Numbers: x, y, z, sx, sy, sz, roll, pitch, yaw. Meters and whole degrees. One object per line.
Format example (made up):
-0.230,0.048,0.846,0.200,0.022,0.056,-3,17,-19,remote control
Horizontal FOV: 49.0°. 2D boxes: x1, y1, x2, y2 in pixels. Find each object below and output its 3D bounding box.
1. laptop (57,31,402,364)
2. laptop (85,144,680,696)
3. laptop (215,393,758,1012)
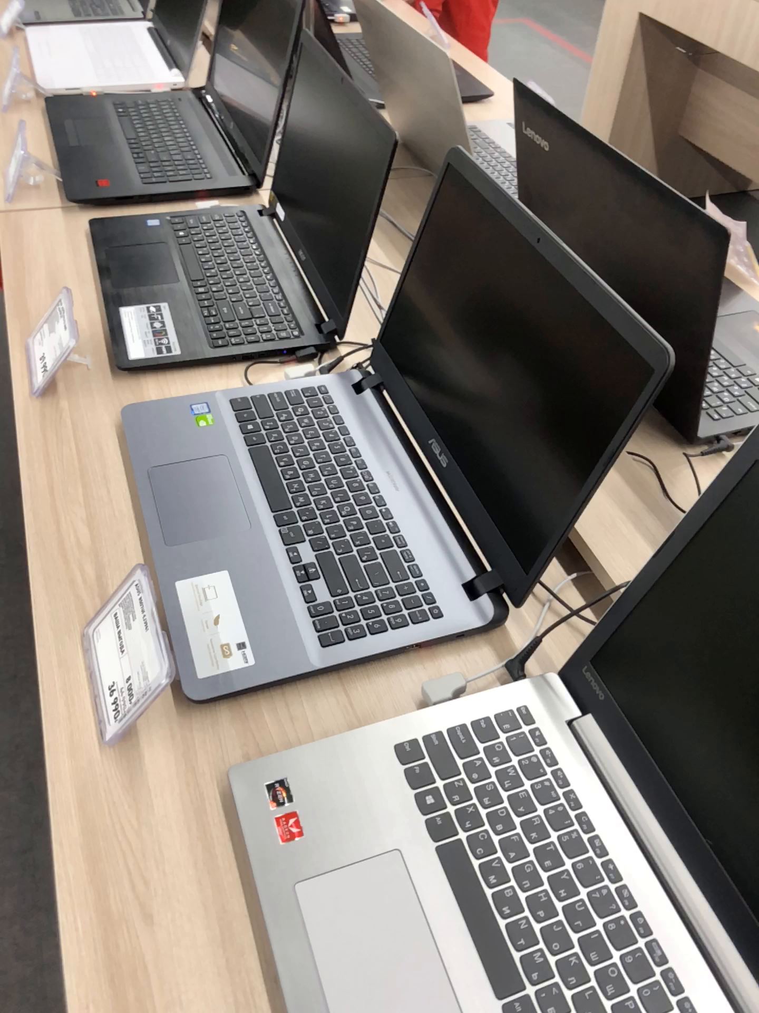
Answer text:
-0.180,-0.367,0.951,0.291,0.222,0.334,-10,46,-16,laptop
-0.030,-0.098,0.673,0.329,0.226,0.346,-12,46,-16,laptop
0.126,0.185,0.396,0.332,0.220,0.371,-14,47,-17,laptop
